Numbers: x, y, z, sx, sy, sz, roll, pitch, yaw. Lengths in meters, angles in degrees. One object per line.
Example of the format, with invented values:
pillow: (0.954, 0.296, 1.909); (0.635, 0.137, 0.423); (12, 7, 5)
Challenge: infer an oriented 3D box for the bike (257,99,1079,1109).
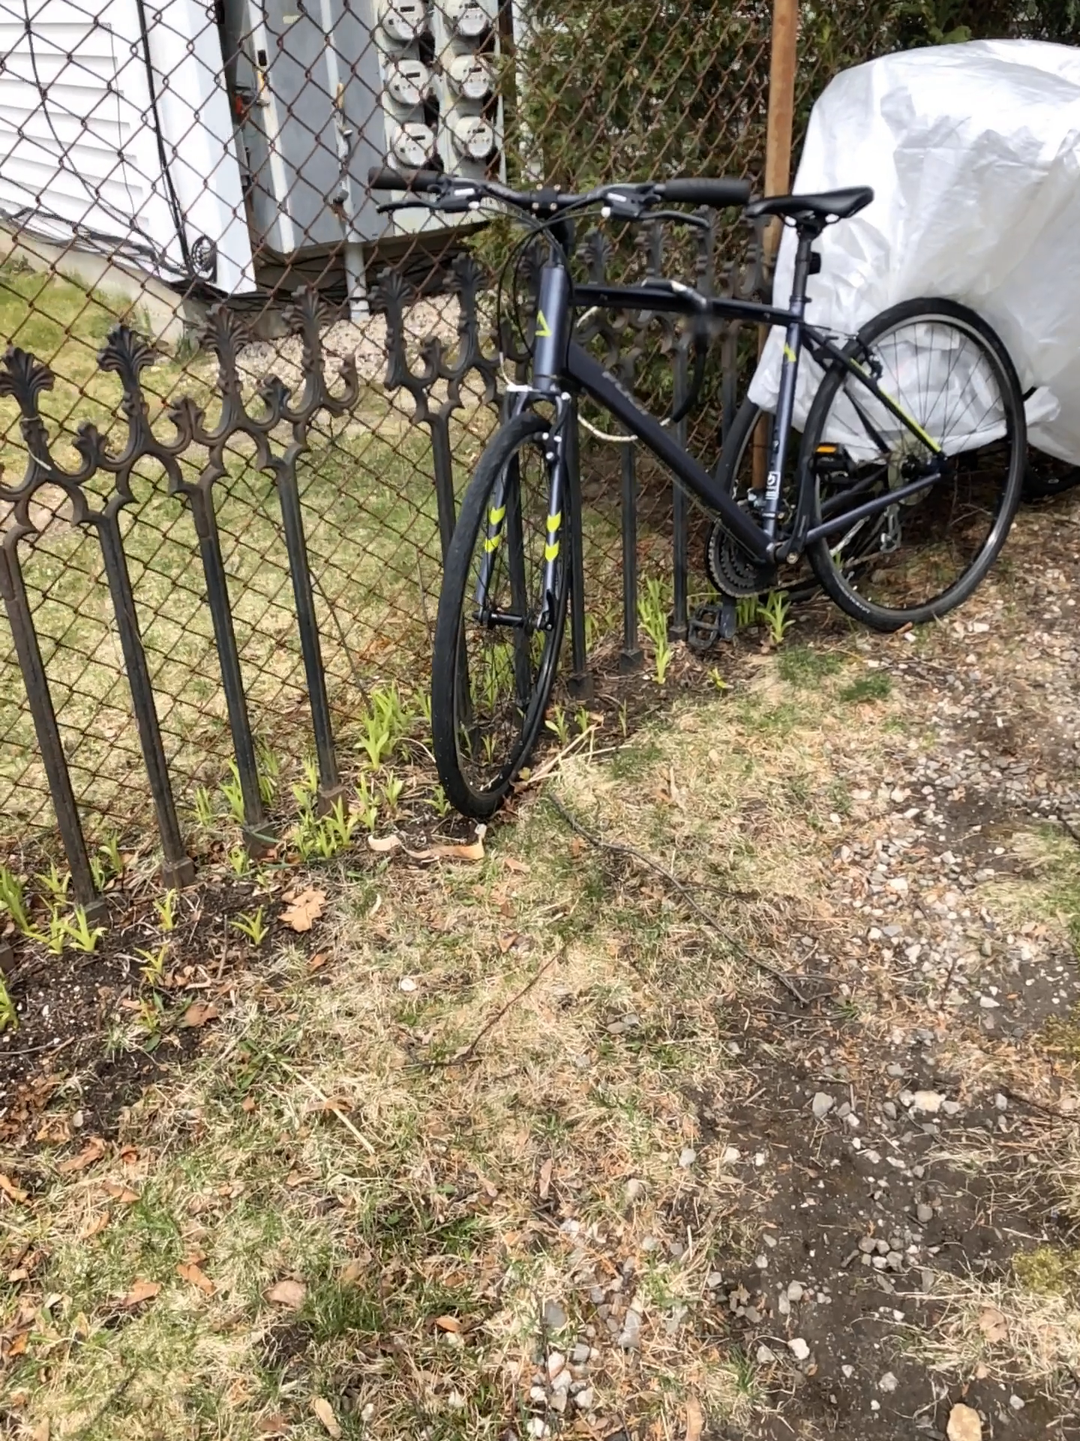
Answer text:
bike: (0.561, -0.501, 2.438); (0.678, 1.346, 2.203); (24, 37, 36)
